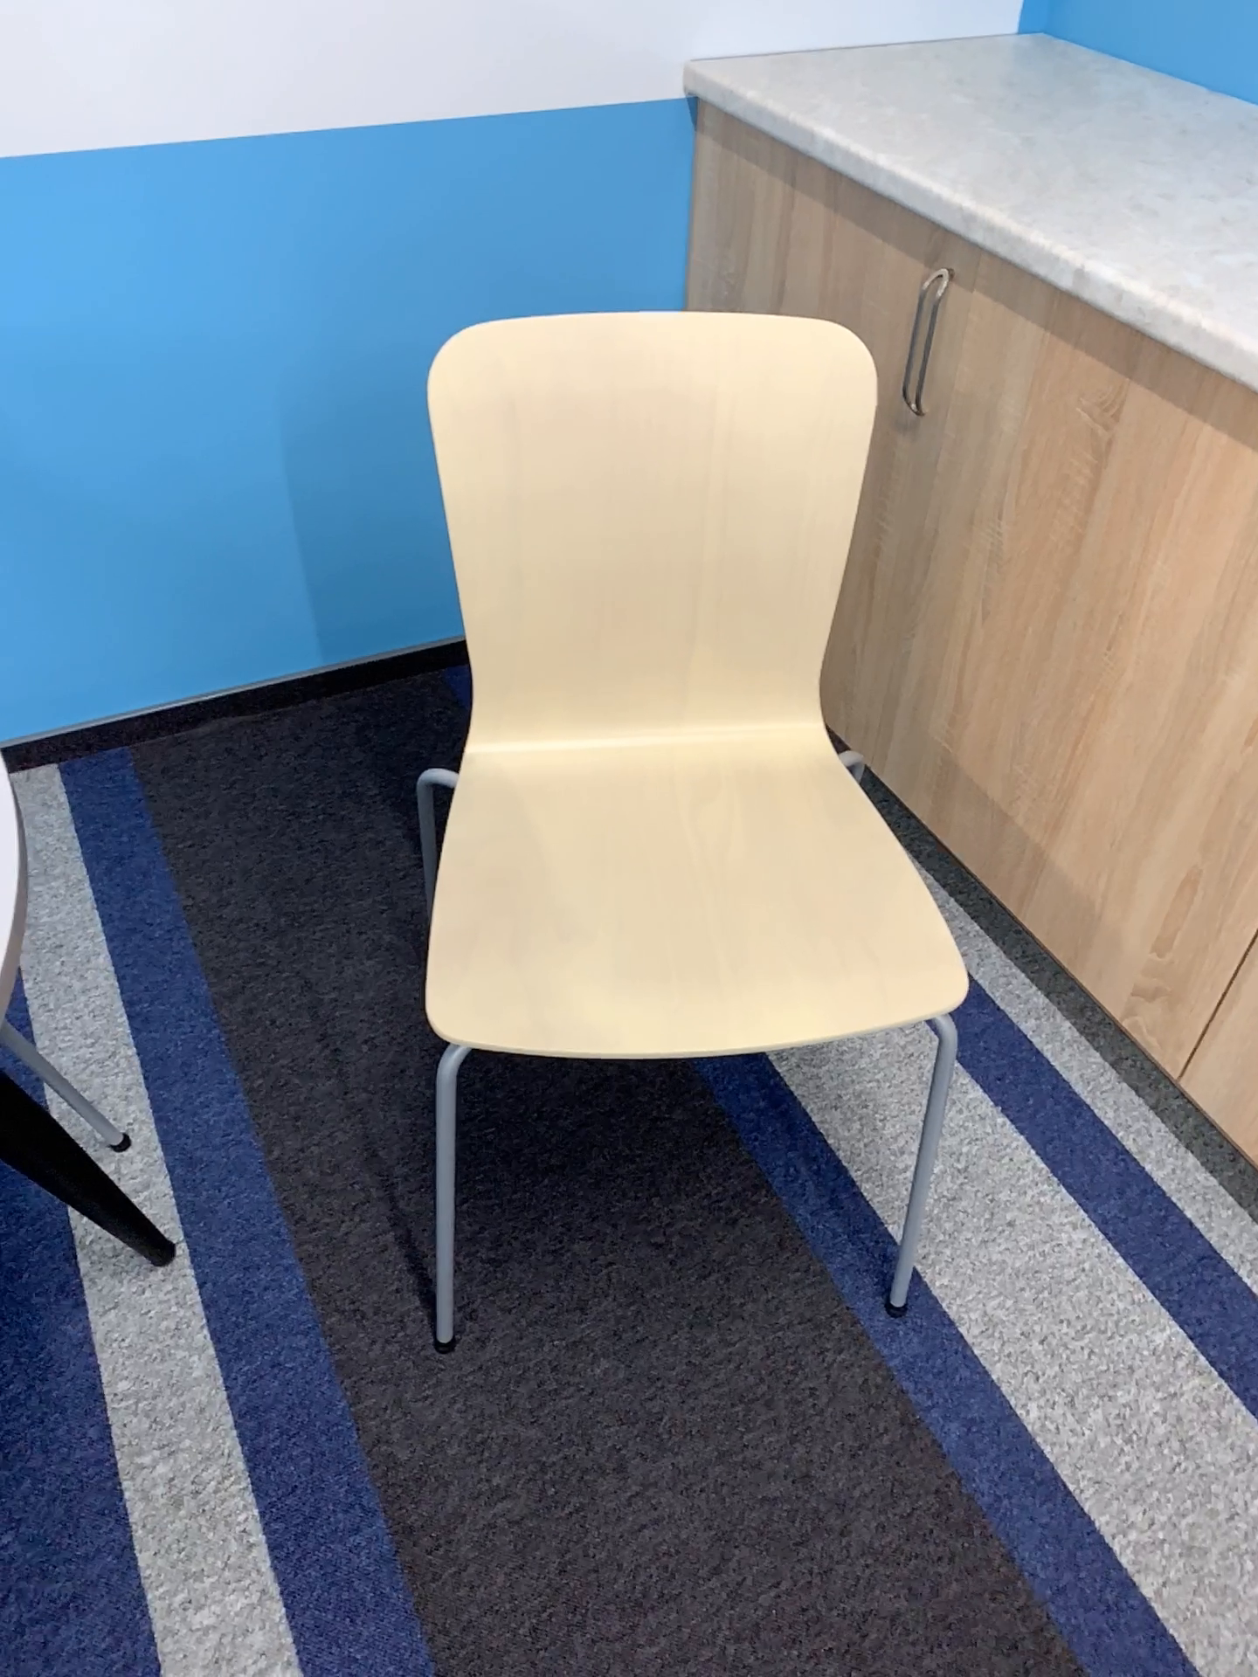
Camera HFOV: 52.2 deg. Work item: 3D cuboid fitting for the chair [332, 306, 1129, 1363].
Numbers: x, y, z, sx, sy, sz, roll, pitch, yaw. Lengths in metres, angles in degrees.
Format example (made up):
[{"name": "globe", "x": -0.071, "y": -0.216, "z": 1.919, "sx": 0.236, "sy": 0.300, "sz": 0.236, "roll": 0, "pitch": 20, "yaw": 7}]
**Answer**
[{"name": "chair", "x": 0.026, "y": 0.012, "z": 1.244, "sx": 0.476, "sy": 0.836, "sz": 0.573, "roll": -2, "pitch": 41, "yaw": -5}]
